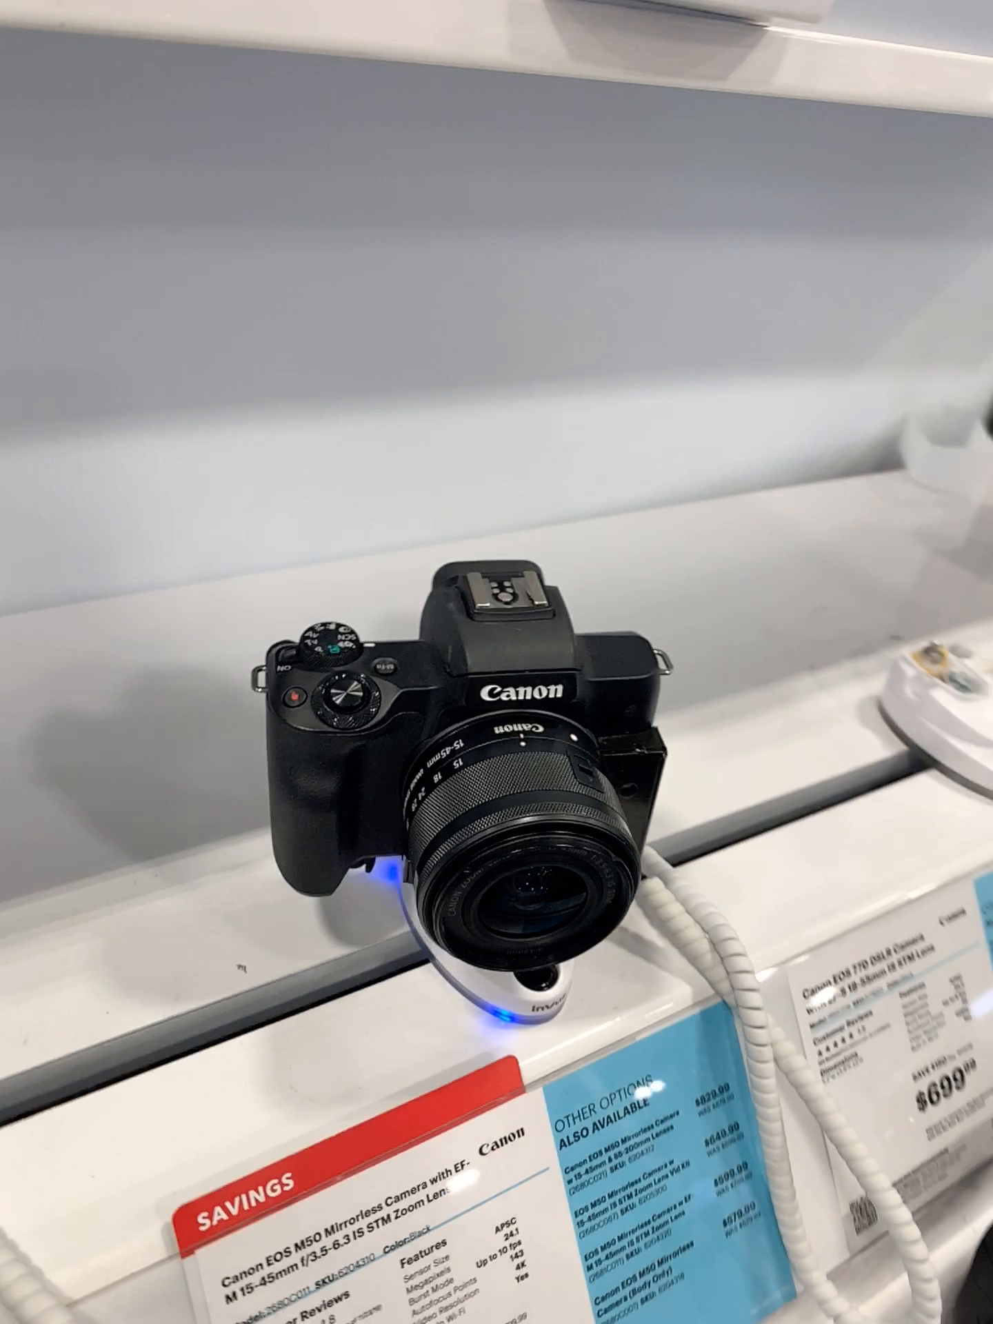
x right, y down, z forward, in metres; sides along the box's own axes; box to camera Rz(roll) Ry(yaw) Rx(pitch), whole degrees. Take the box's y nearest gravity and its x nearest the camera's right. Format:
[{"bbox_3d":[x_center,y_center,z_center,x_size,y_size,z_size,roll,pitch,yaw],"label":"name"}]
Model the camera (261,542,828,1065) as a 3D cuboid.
[{"bbox_3d":[0.001,0.031,0.290,0.121,0.080,0.111,-4,37,-16],"label":"camera"}]
